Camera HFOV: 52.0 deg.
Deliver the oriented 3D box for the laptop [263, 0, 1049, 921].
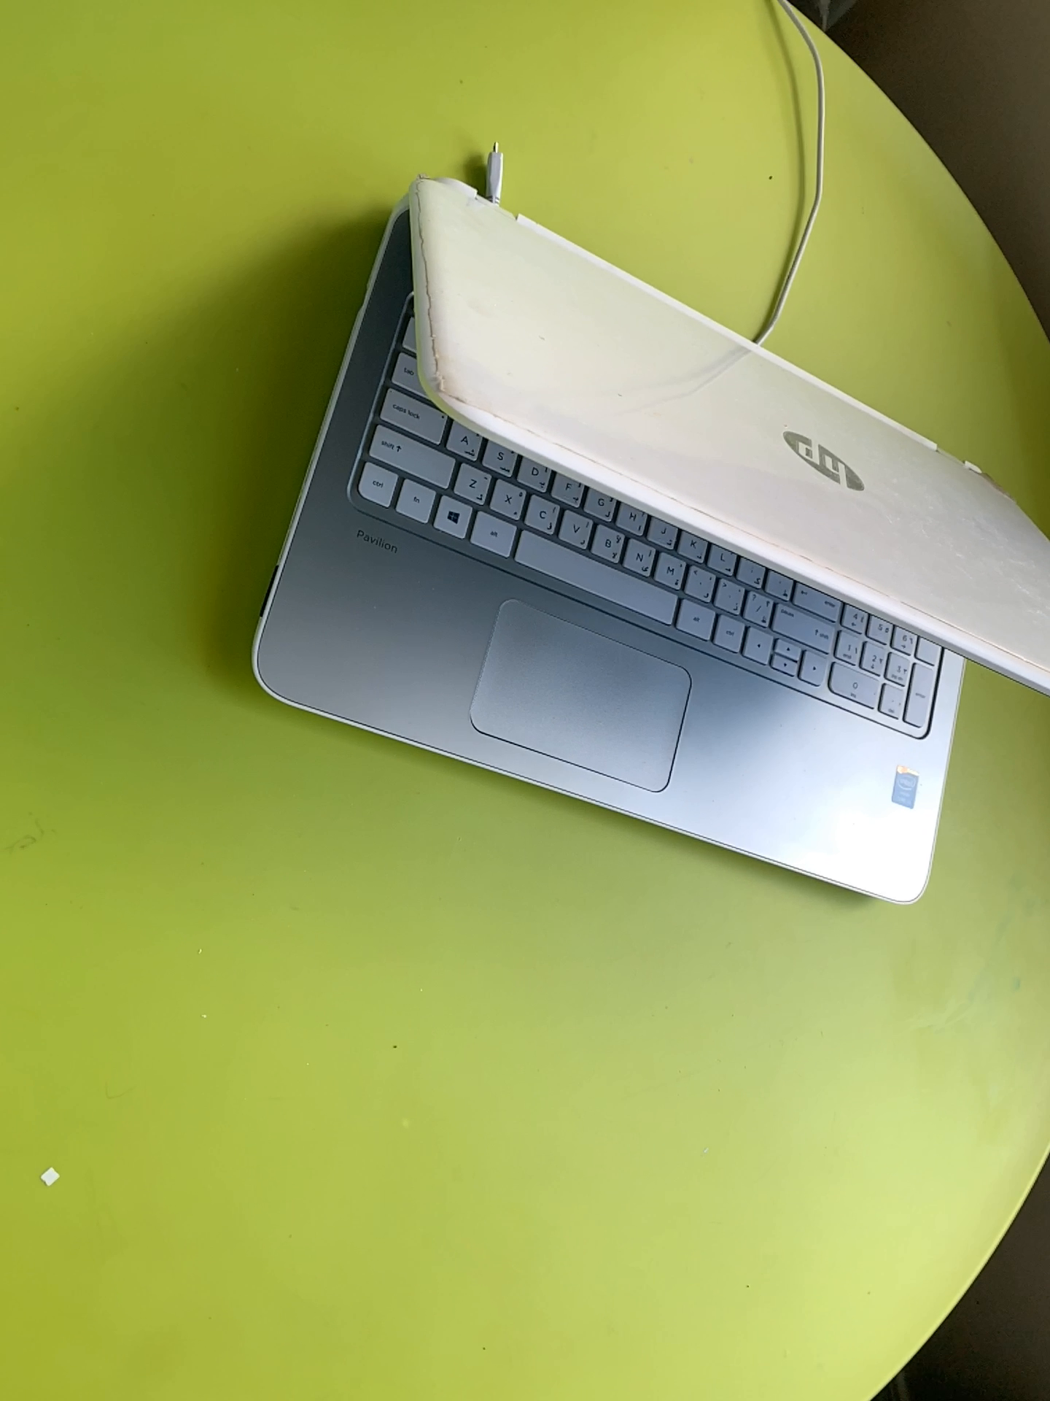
[{"bbox_3d":[0.117,-0.073,0.464,0.368,0.163,0.243,20,76,-23],"label":"laptop"}]
